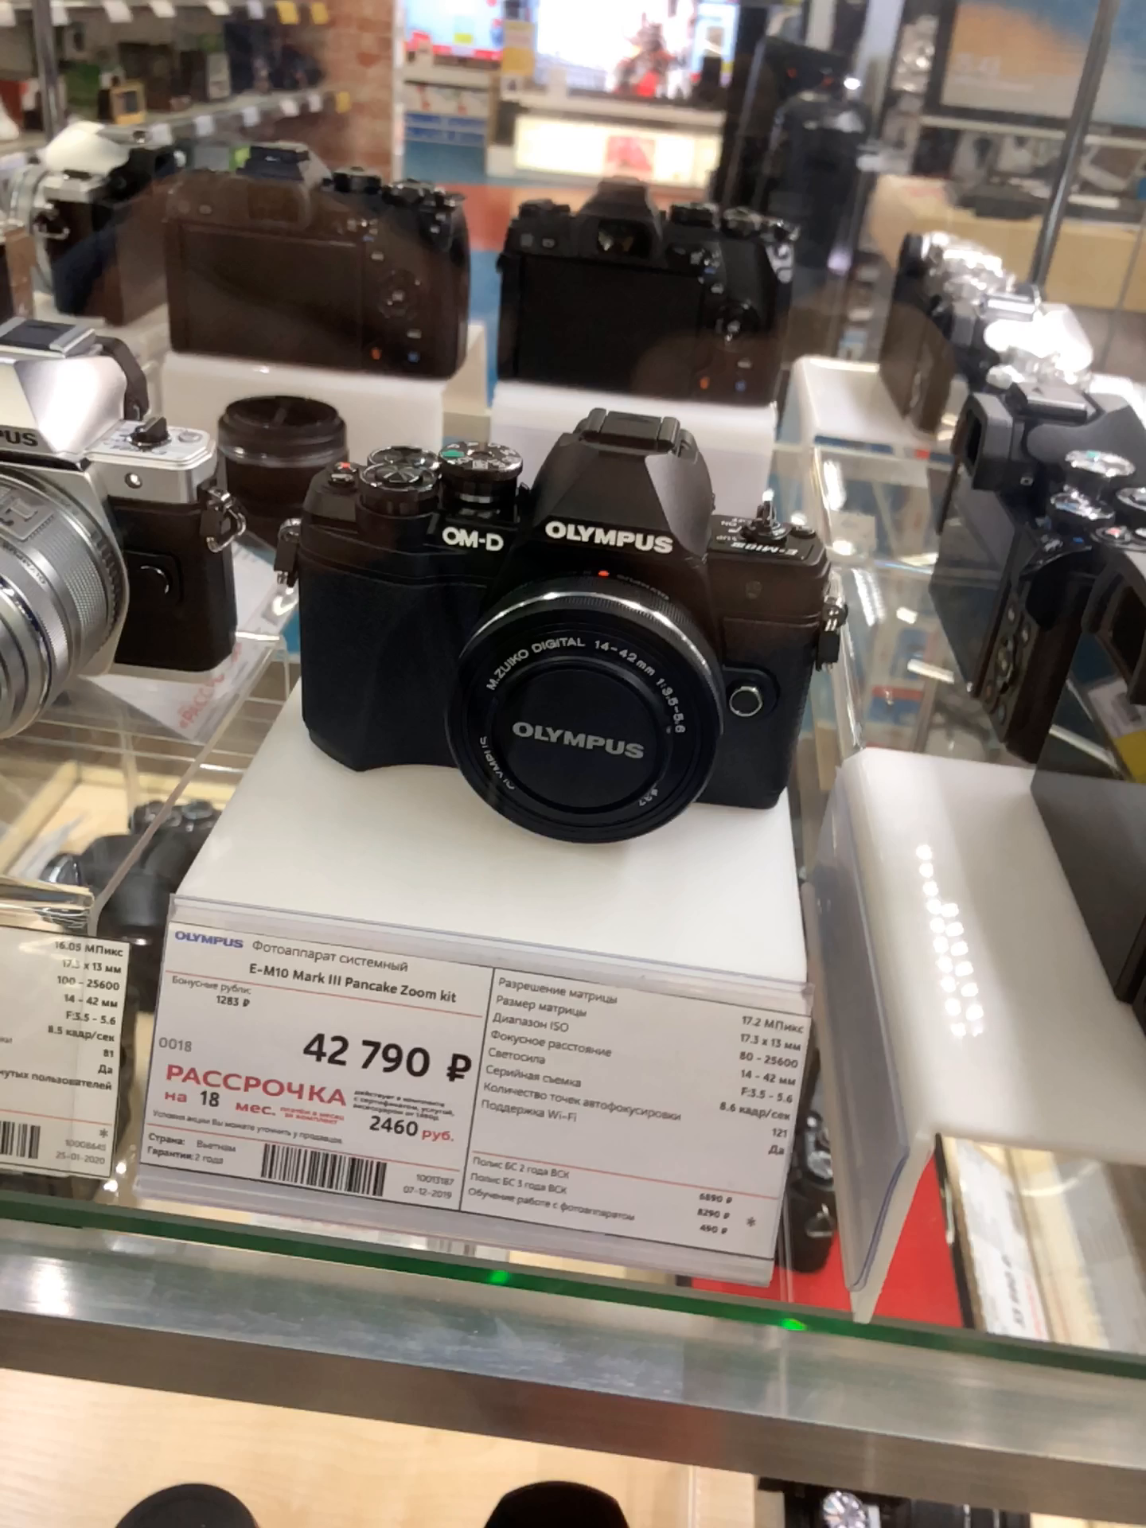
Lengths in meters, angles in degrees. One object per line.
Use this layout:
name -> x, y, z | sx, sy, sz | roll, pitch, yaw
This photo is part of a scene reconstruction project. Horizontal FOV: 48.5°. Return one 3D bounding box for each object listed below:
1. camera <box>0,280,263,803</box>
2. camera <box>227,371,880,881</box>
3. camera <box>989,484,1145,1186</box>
camera -> -0.146, -0.058, 0.301 | 0.112, 0.080, 0.094 | 9, 31, 5
camera -> -0.004, -0.035, 0.296 | 0.129, 0.082, 0.064 | 9, 31, 5
camera -> 0.152, 0.004, 0.255 | 0.094, 0.074, 0.124 | 6, 31, 1
